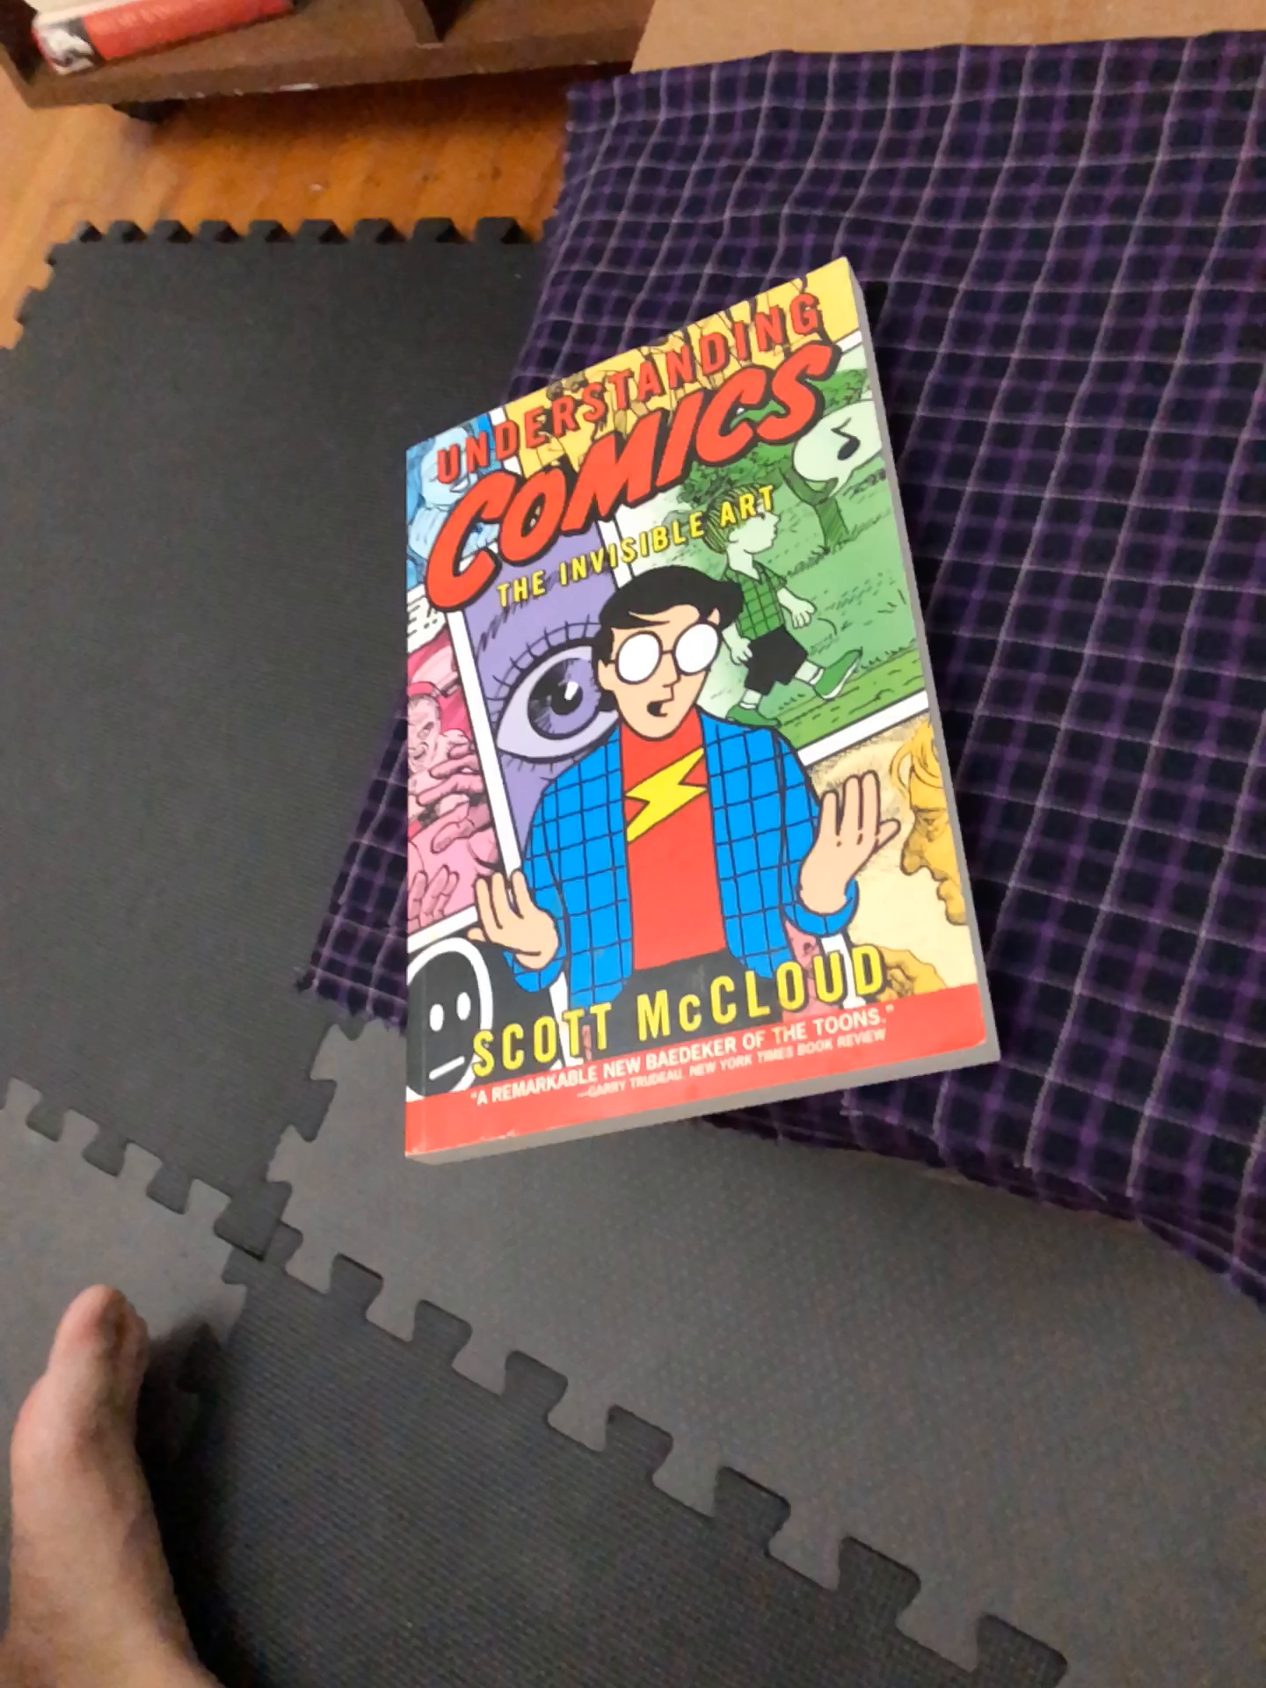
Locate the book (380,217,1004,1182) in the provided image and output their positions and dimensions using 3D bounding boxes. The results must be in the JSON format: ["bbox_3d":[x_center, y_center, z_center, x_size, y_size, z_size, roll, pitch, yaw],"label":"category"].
[{"bbox_3d":[0.001,-0.049,0.418,0.170,0.020,0.271,-15,63,23],"label":"book"}]
